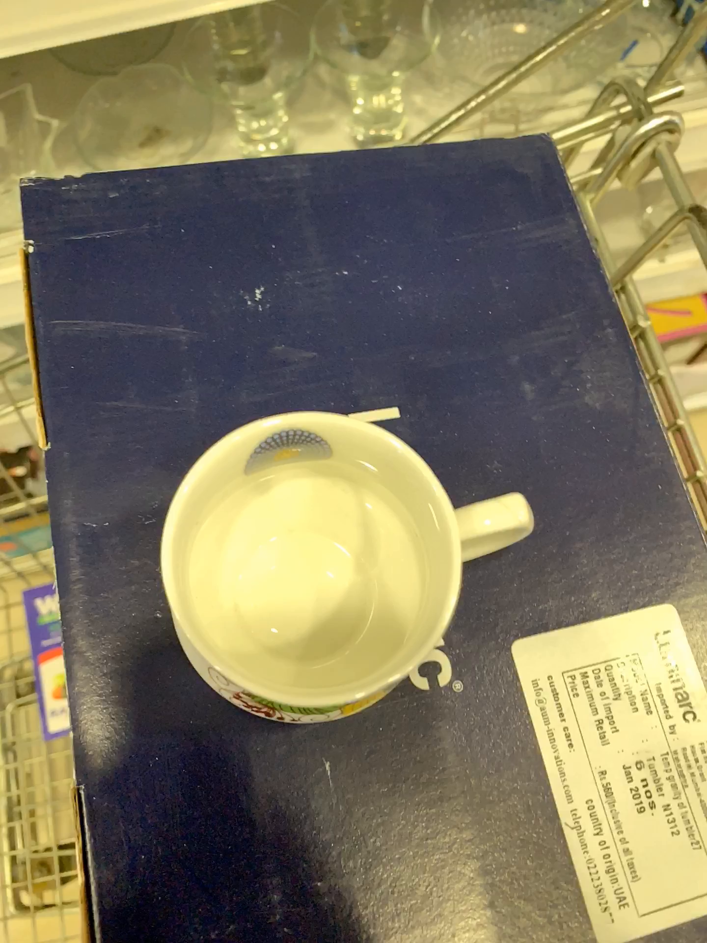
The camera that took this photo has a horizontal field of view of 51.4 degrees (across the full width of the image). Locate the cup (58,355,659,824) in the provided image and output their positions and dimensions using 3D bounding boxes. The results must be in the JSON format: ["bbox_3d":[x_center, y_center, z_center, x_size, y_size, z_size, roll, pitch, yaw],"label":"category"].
[{"bbox_3d":[-0.002,0.023,0.148,0.090,0.050,0.060,-13,72,-9],"label":"cup"}]
